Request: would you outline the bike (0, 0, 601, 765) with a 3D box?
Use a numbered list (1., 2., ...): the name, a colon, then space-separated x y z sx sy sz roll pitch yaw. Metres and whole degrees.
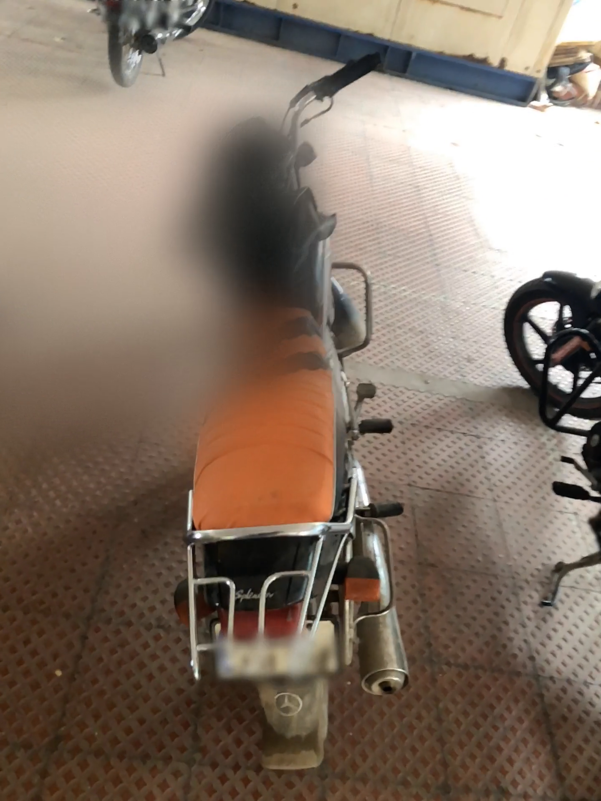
1. bike: -0.160 -0.098 1.550 0.688 1.123 1.410 6 42 -12
